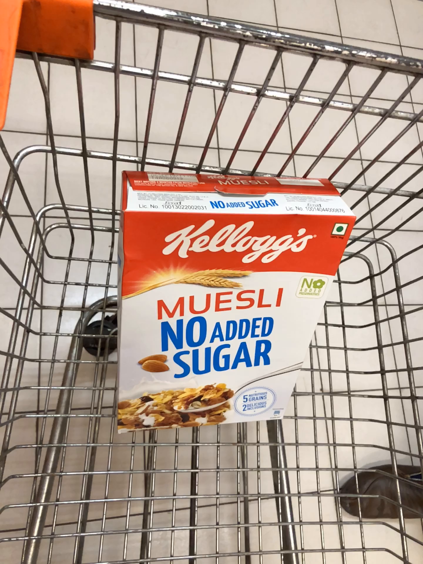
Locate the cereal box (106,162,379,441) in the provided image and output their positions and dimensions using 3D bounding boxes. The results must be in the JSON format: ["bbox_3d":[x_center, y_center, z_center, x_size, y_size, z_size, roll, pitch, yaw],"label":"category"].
[{"bbox_3d":[0.004,0.031,0.425,0.190,0.259,0.070,-1,40,-14],"label":"cereal box"}]
